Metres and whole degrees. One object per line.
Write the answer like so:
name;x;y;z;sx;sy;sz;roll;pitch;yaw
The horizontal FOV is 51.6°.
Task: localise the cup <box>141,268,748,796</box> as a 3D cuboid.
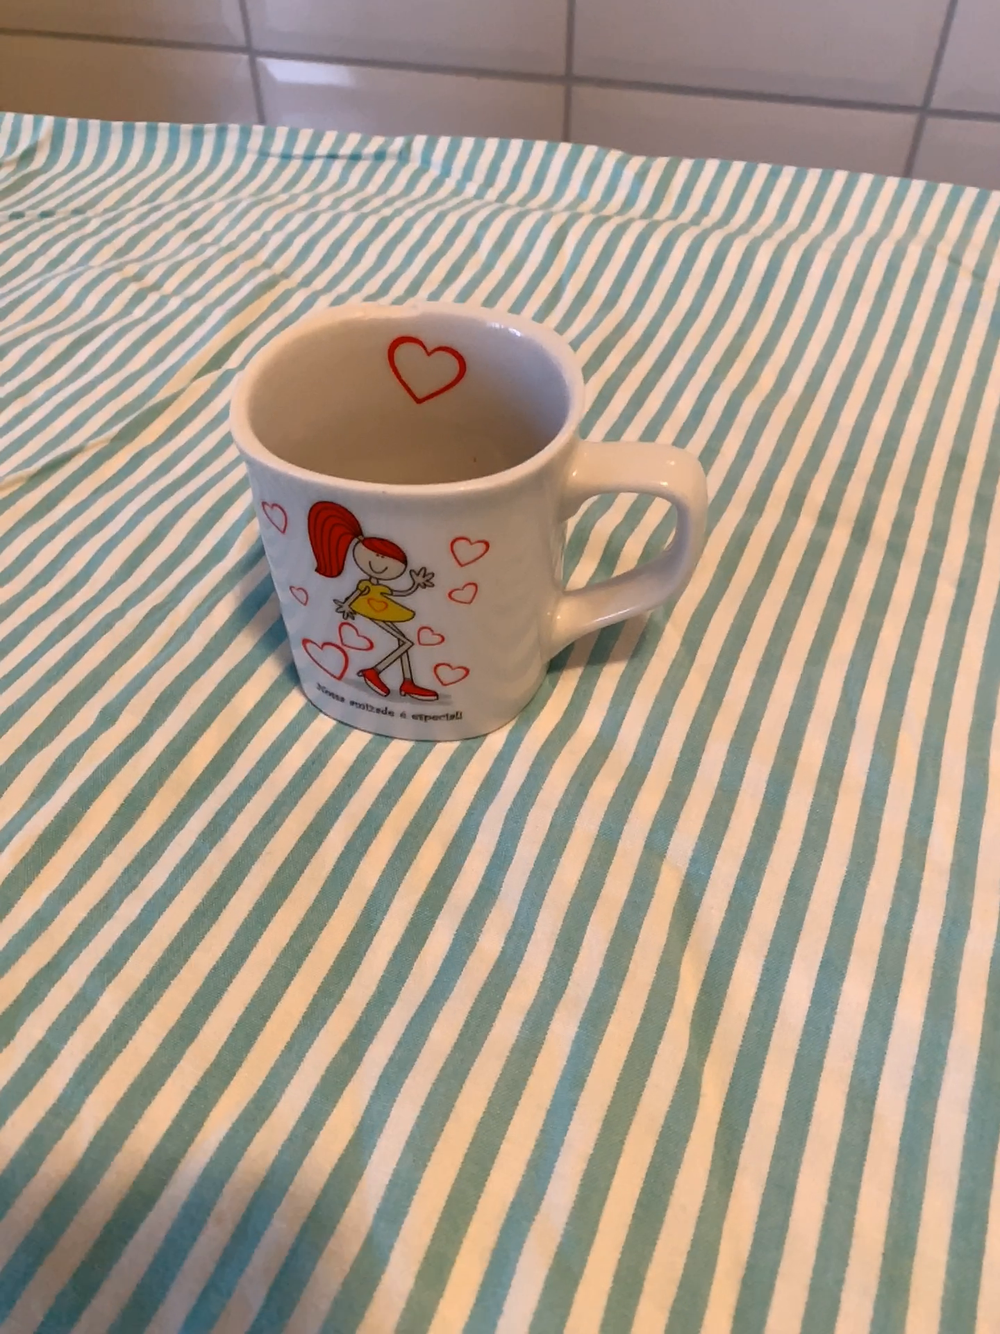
cup;-0.008;-0.033;0.245;0.110;0.080;0.070;12;48;11
